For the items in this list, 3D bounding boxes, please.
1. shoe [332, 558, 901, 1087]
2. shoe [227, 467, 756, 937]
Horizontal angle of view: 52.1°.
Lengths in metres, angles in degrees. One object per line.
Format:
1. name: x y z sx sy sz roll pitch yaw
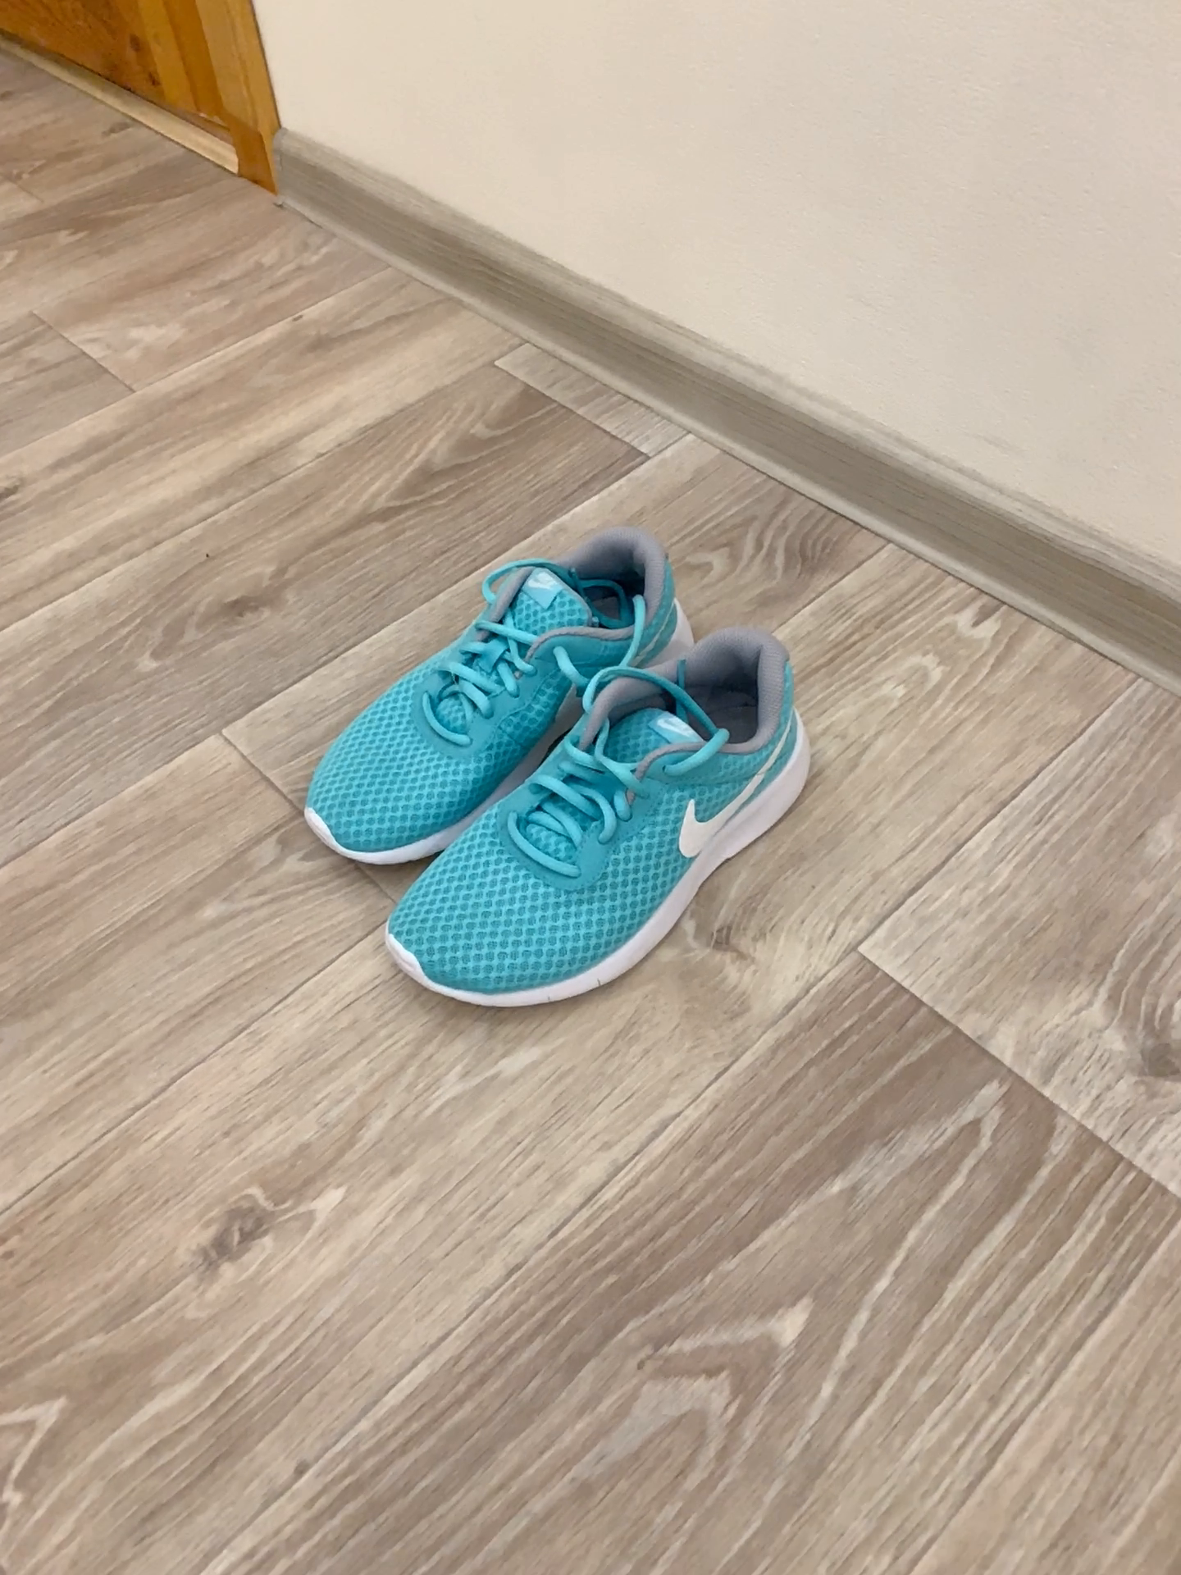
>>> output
1. shoe: 0.020 0.008 0.568 0.250 0.090 0.099 -36 57 -23
2. shoe: -0.041 -0.052 0.624 0.250 0.090 0.102 -36 57 -23
